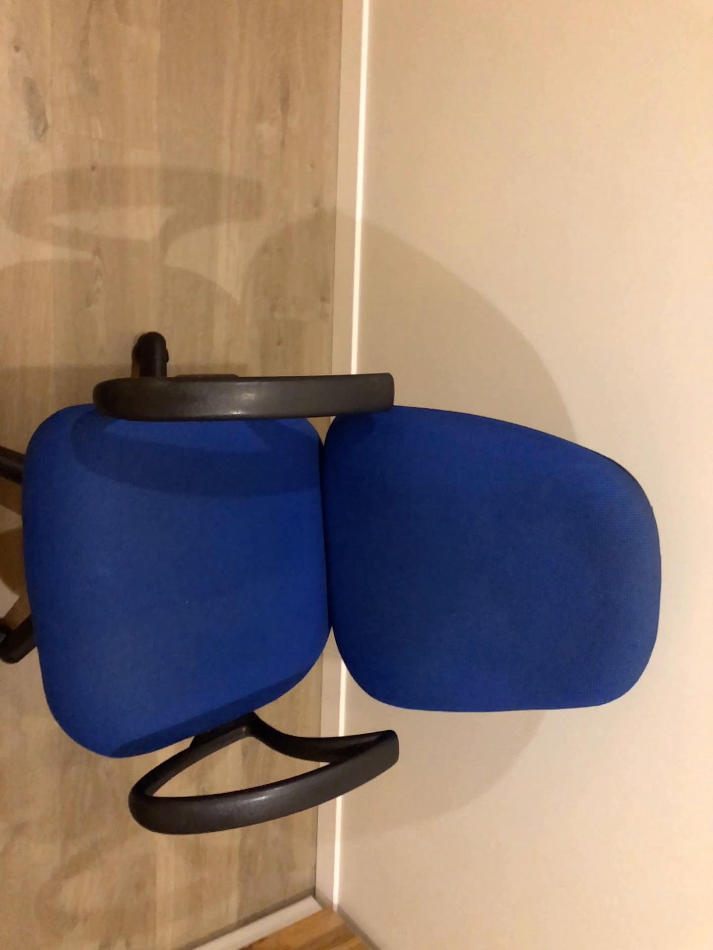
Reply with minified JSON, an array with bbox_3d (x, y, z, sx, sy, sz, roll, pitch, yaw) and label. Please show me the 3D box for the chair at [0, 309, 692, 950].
[{"bbox_3d":[-0.137,0.139,1.154,0.703,0.906,0.696,-12,105,-34],"label":"chair"}]
